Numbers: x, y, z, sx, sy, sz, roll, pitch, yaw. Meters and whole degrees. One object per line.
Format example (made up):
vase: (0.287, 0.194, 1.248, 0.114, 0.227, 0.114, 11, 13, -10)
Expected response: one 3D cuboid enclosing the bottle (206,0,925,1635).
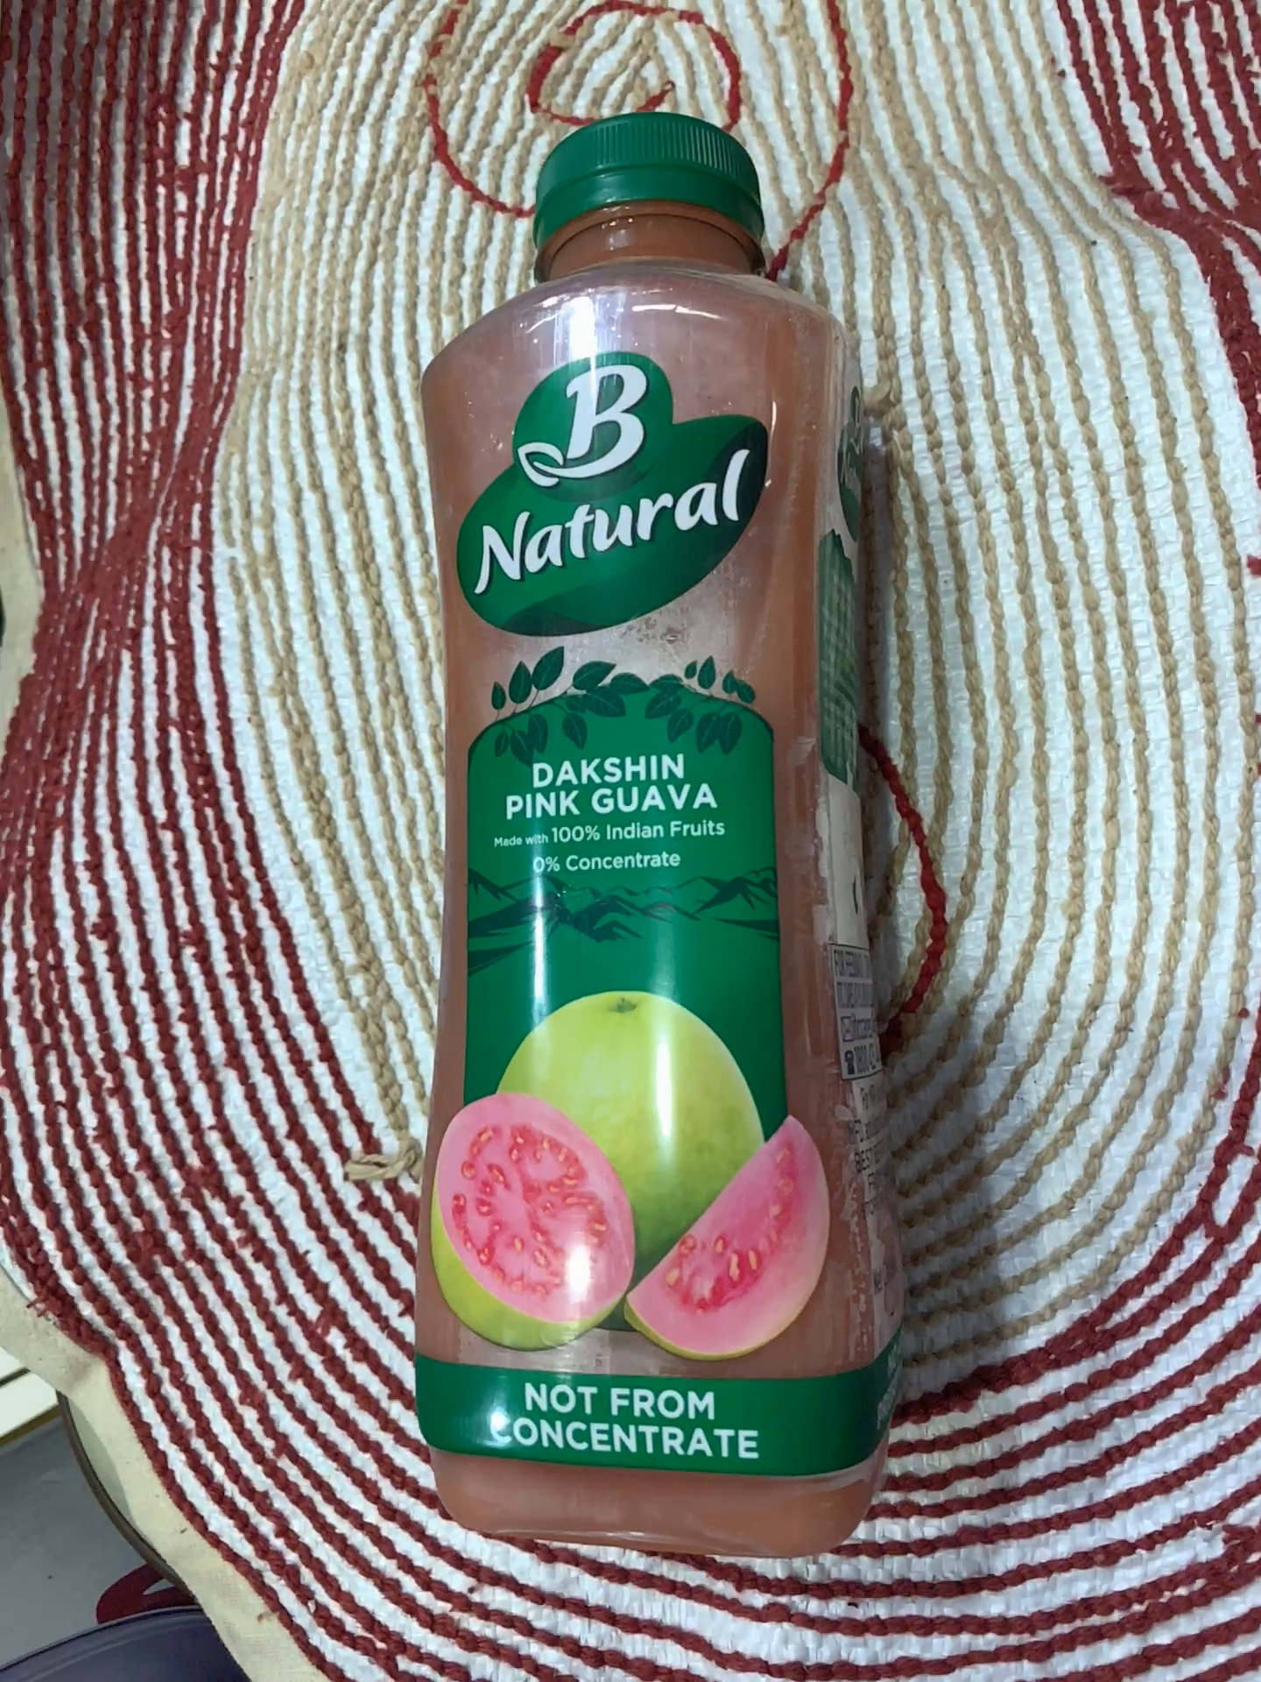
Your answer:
bottle: (-0.004, -0.018, 0.187, 0.080, 0.060, 0.210, -2, 82, 16)
